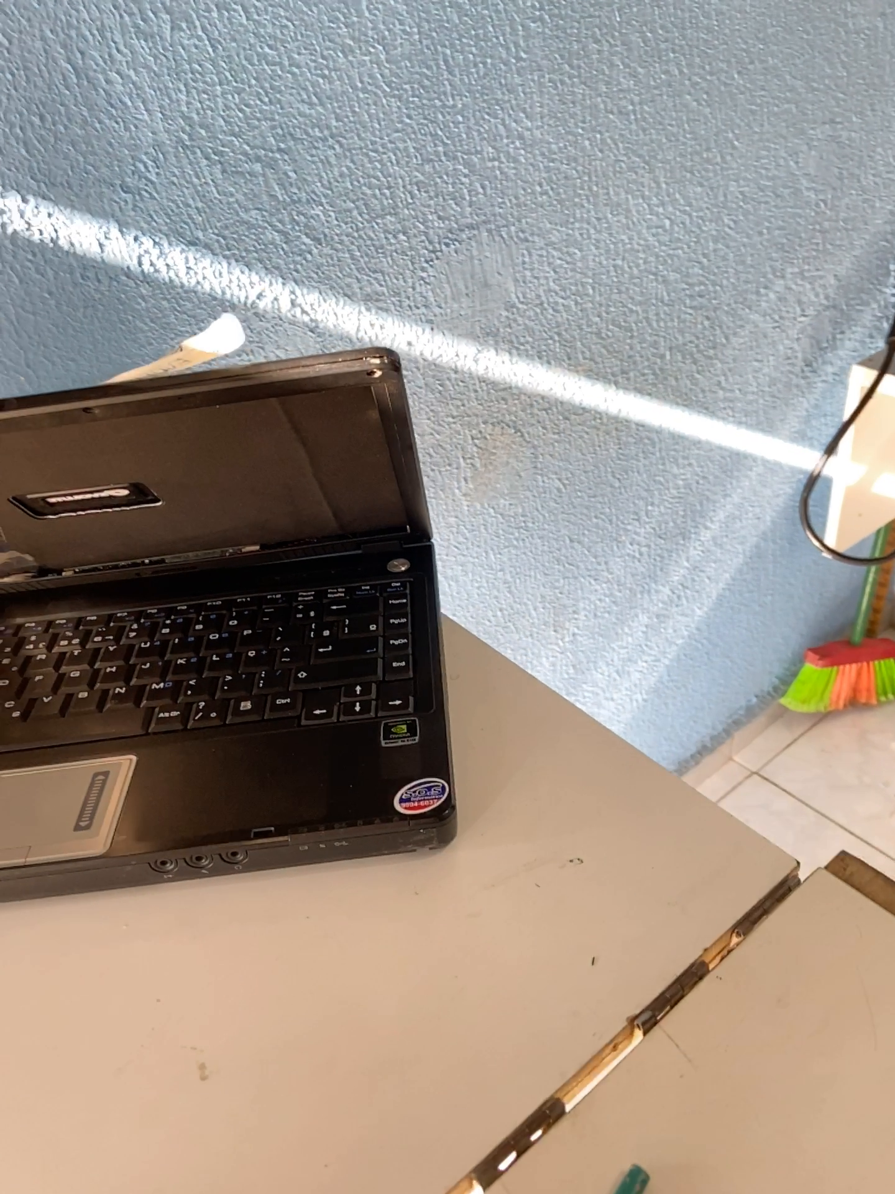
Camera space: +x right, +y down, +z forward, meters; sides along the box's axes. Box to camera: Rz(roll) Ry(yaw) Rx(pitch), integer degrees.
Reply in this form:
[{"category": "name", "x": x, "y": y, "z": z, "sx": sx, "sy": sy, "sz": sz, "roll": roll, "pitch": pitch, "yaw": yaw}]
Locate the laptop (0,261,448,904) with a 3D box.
[{"category": "laptop", "x": -0.178, "y": -0.022, "z": 0.441, "sx": 0.328, "sy": 0.174, "sz": 0.225, "roll": -7, "pitch": 34, "yaw": 1}]
